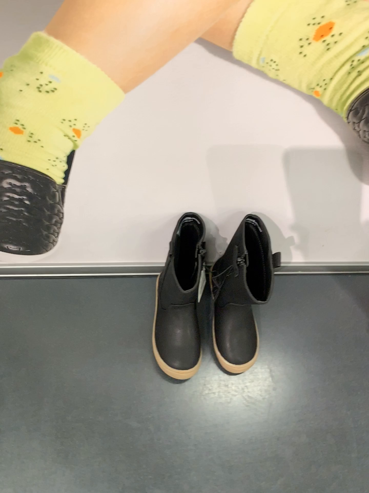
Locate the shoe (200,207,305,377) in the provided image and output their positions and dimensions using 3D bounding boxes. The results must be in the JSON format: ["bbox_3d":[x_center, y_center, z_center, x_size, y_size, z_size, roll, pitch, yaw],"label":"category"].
[{"bbox_3d":[0.085,0.077,0.573,0.080,0.200,0.190,0,61,-7],"label":"shoe"}]

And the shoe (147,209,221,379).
[{"bbox_3d":[-0.011,0.081,0.572,0.080,0.200,0.190,2,61,-6],"label":"shoe"}]
